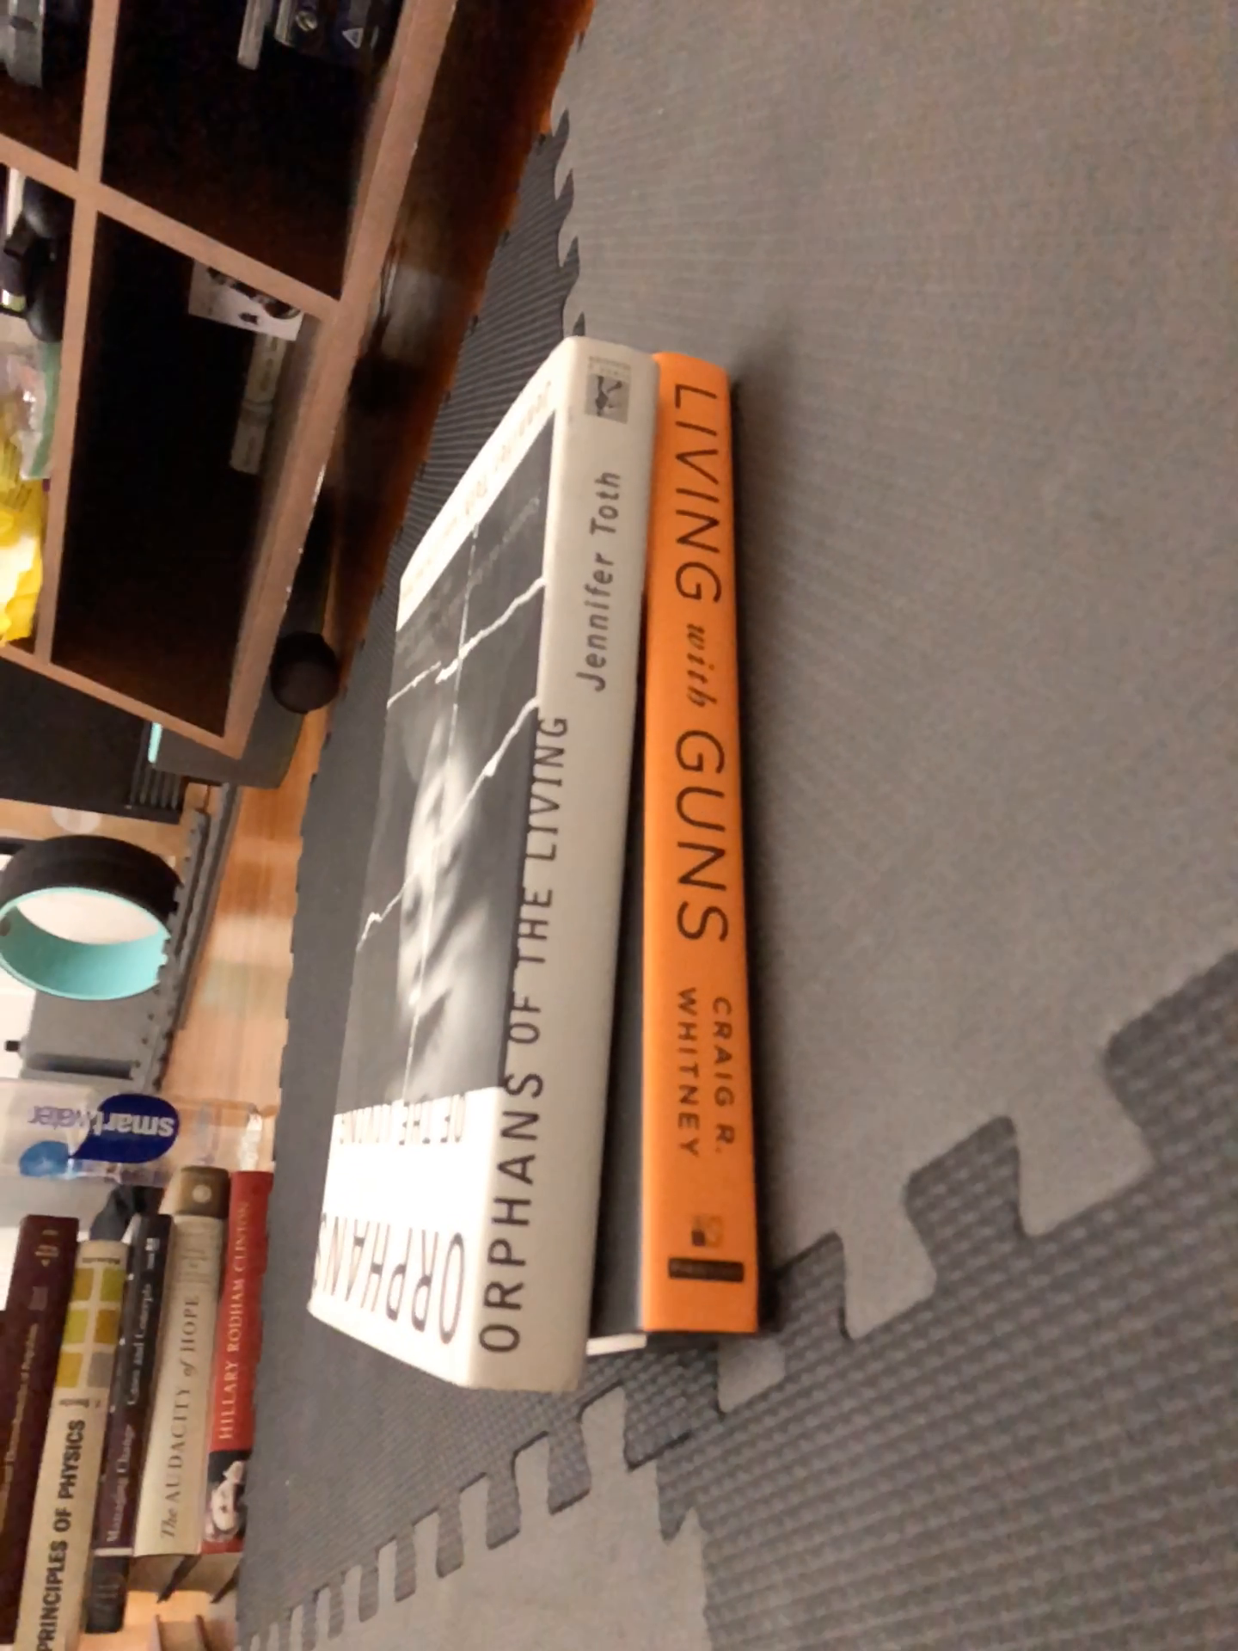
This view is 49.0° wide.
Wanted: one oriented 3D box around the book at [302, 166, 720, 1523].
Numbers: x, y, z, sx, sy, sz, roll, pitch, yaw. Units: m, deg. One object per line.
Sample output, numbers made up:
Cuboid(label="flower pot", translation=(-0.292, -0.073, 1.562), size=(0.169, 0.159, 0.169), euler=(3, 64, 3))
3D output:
Cuboid(label="book", translation=(-0.034, 0.007, 0.356), size=(0.181, 0.030, 0.280), euler=(148, 130, -64))

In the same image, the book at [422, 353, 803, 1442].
Cuboid(label="book", translation=(-0.009, 0.026, 0.364), size=(0.160, 0.030, 0.250), euler=(133, 143, -57))
